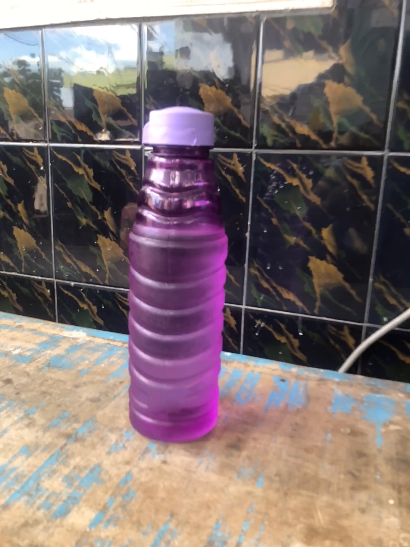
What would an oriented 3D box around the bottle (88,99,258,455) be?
[{"bbox_3d":[-0.023,-0.001,0.347,0.090,0.239,0.080,10,16,29],"label":"bottle"}]
